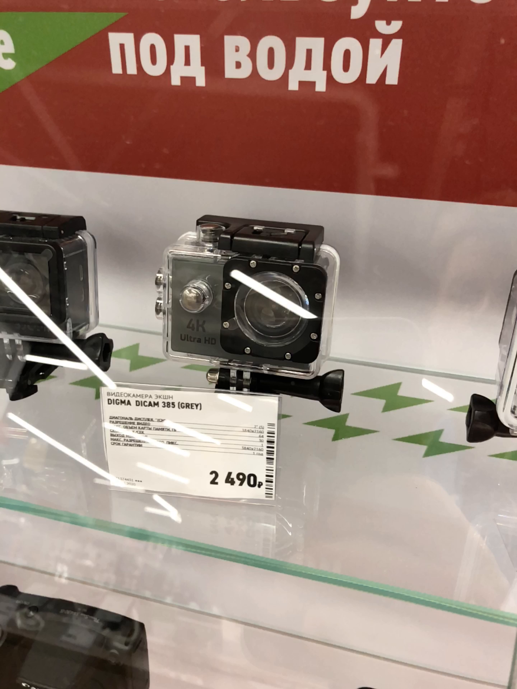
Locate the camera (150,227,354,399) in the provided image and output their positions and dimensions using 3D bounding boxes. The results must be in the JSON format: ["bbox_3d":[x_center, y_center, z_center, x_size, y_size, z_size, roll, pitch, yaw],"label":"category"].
[{"bbox_3d":[-0.001,-0.017,0.254,0.077,0.055,0.048,7,22,12],"label":"camera"}]

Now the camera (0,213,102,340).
[{"bbox_3d":[-0.114,-0.033,0.263,0.072,0.046,0.036,6,18,9],"label":"camera"}]
